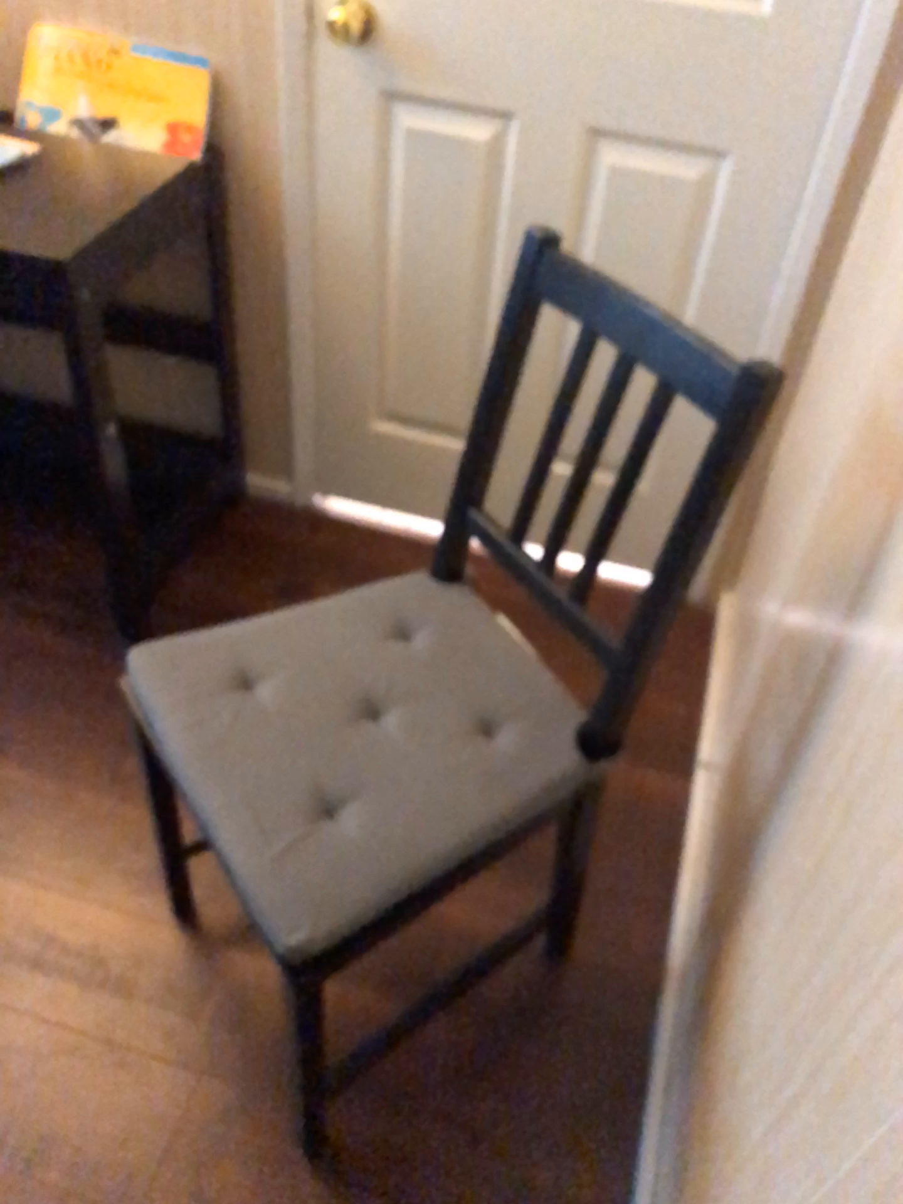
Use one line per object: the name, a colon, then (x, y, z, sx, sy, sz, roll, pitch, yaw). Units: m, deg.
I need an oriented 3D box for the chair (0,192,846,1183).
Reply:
chair: (-0.067, 0.106, 1.059, 0.511, 0.834, 0.442, -22, 49, -27)
